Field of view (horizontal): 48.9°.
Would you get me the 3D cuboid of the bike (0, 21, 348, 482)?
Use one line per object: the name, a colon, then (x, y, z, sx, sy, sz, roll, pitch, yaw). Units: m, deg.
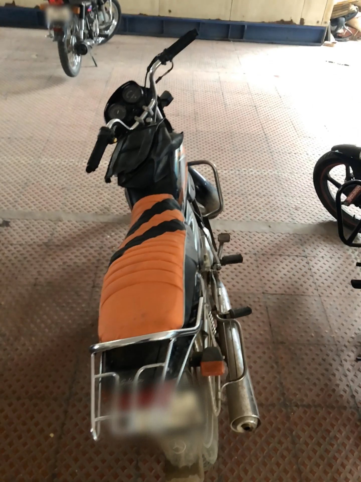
bike: (-0.201, -0.025, 1.504, 0.688, 1.123, 1.410, -1, 41, -7)
